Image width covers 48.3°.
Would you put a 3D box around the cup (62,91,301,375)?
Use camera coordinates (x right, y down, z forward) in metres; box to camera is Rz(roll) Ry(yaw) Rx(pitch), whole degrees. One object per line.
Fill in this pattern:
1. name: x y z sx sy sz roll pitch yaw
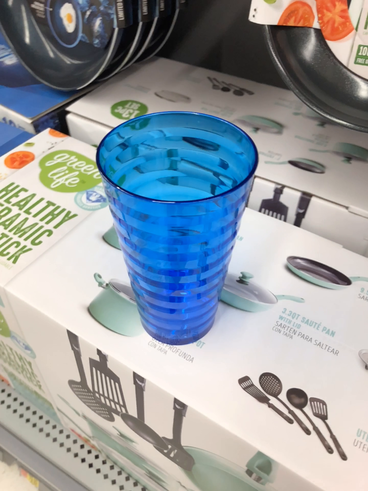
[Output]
1. cup: -0.001 -0.006 0.266 0.087 0.134 0.092 0 47 0
